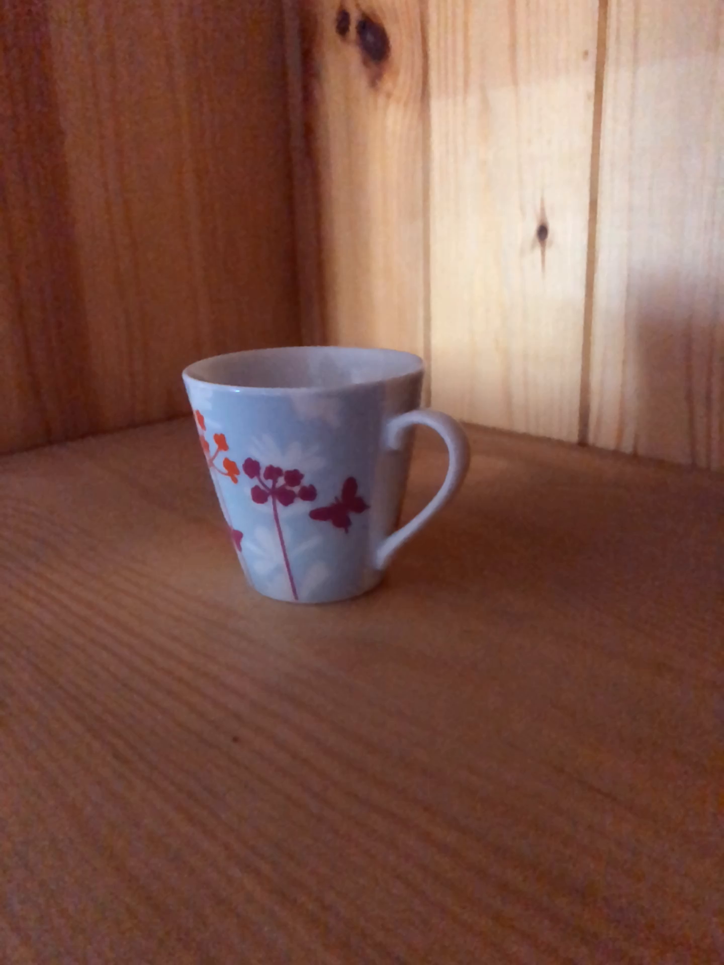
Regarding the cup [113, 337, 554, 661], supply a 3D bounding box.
[{"bbox_3d":[-0.006,-0.004,0.203,0.080,0.050,0.070,13,22,37],"label":"cup"}]
